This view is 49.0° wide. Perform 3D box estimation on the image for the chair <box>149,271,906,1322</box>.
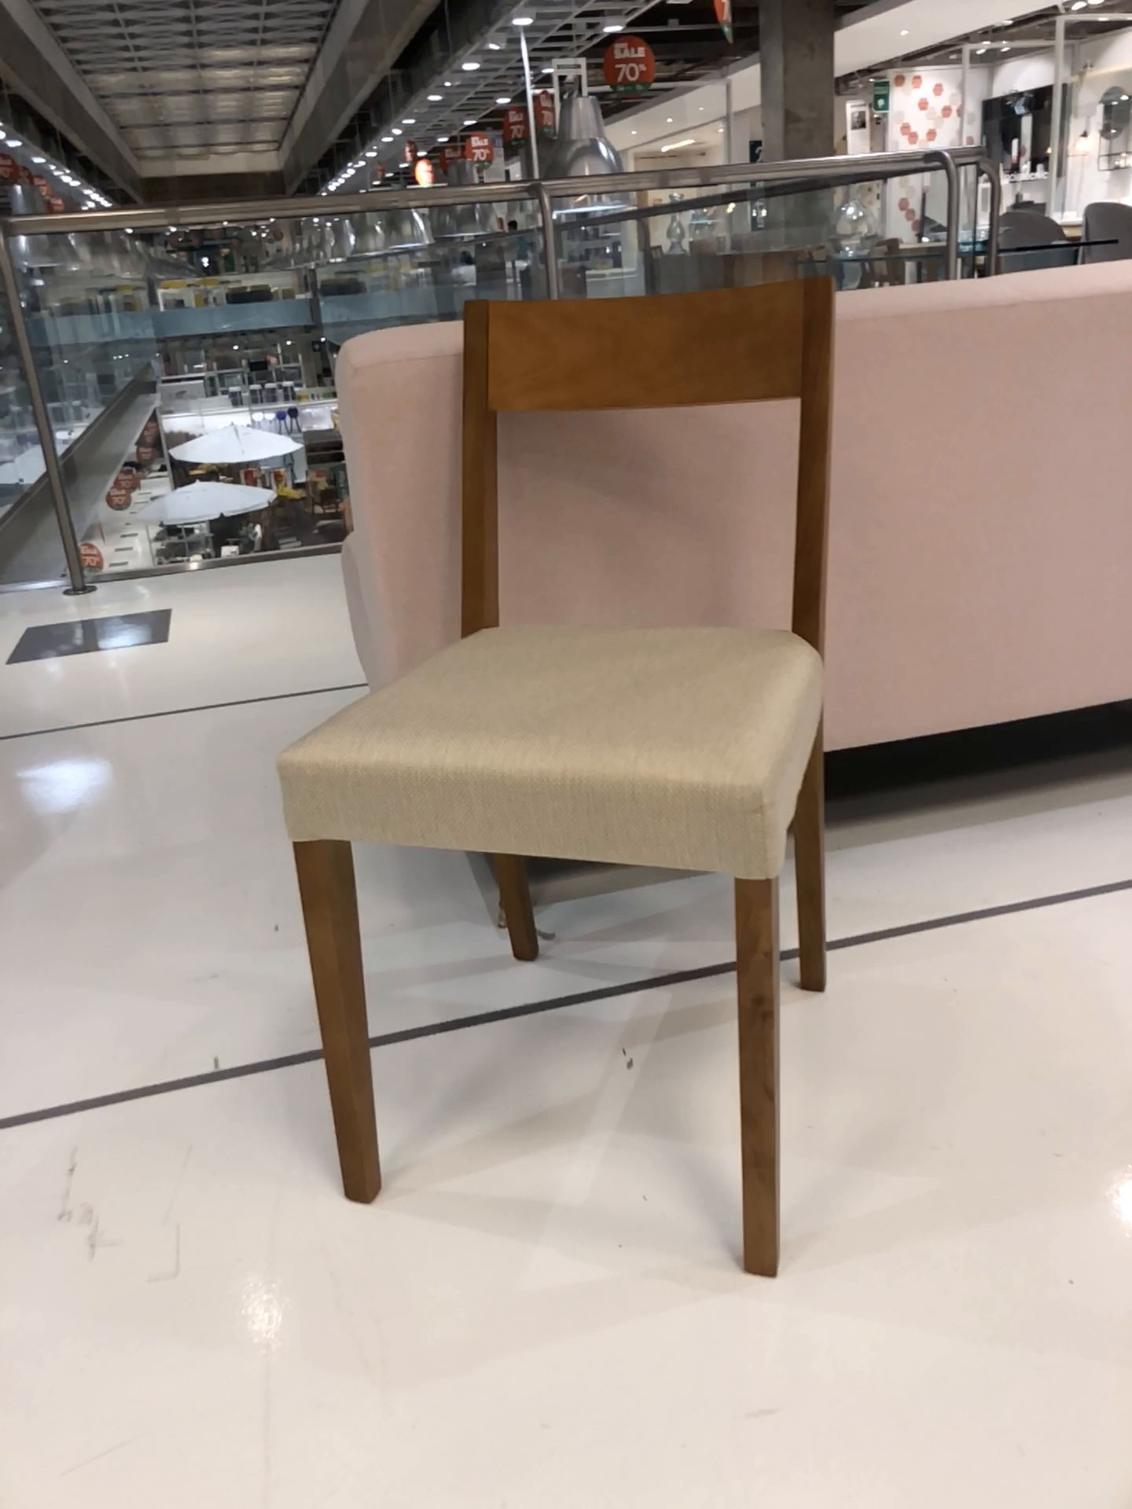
[{"bbox_3d":[0.048,-0.024,1.253,0.490,0.815,0.594,4,23,21],"label":"chair"}]
